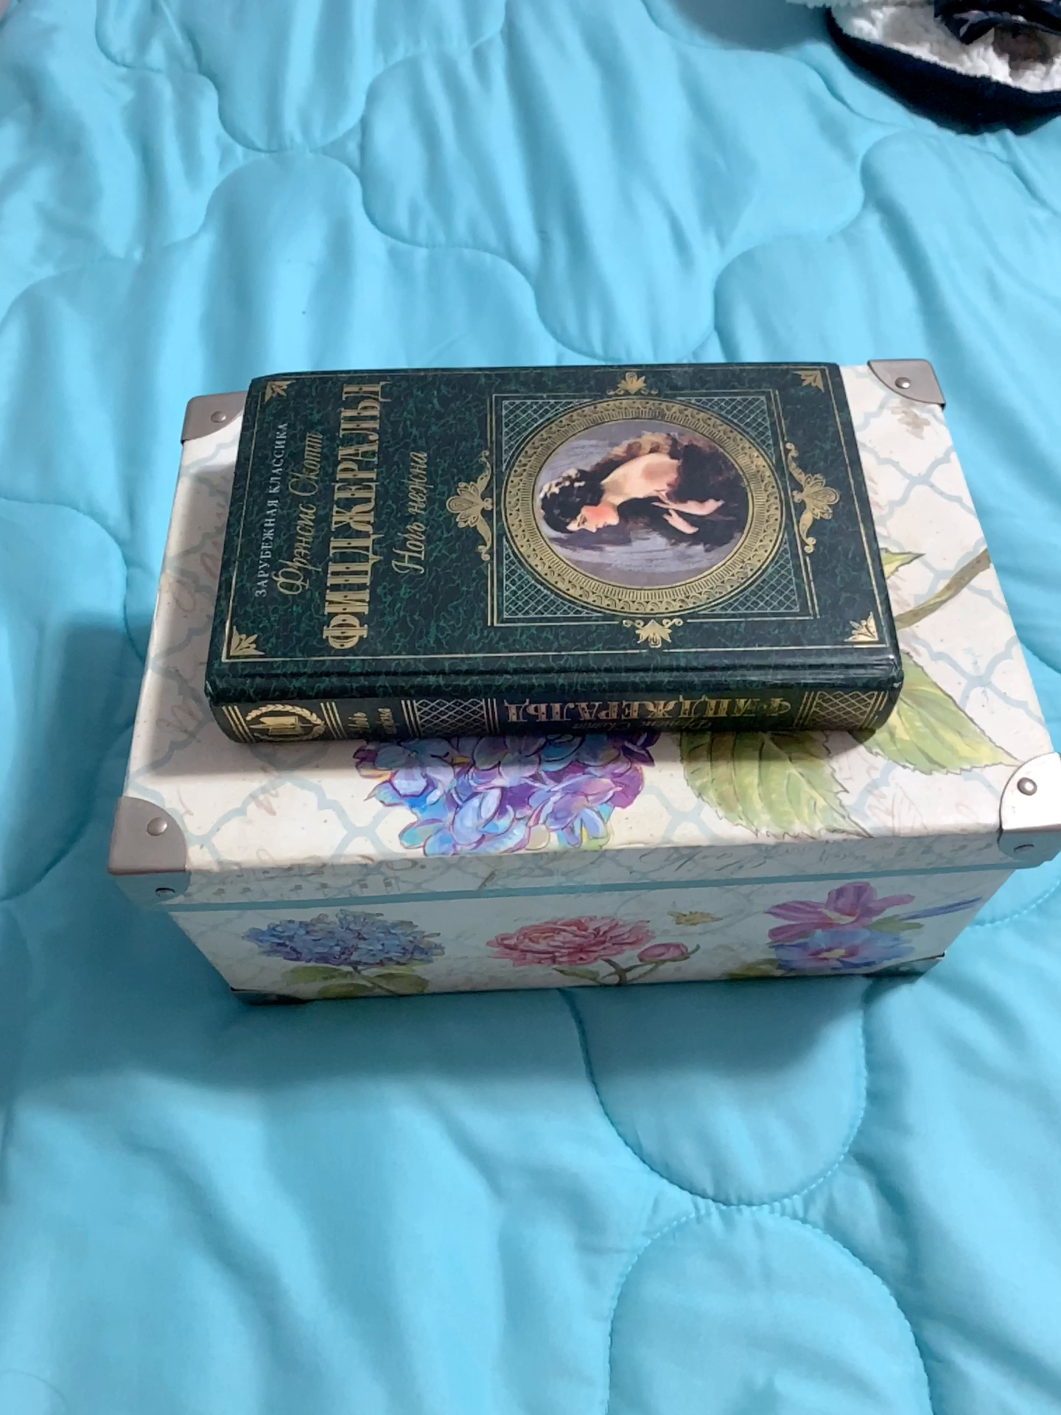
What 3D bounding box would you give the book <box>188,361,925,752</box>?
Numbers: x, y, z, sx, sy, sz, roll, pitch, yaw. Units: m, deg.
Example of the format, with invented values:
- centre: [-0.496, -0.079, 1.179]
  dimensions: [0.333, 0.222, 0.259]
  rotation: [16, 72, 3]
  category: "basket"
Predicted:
- centre: [0.007, -0.056, 0.374]
  dimensions: [0.220, 0.030, 0.140]
  rotation: [-1, 59, 0]
  category: "book"
